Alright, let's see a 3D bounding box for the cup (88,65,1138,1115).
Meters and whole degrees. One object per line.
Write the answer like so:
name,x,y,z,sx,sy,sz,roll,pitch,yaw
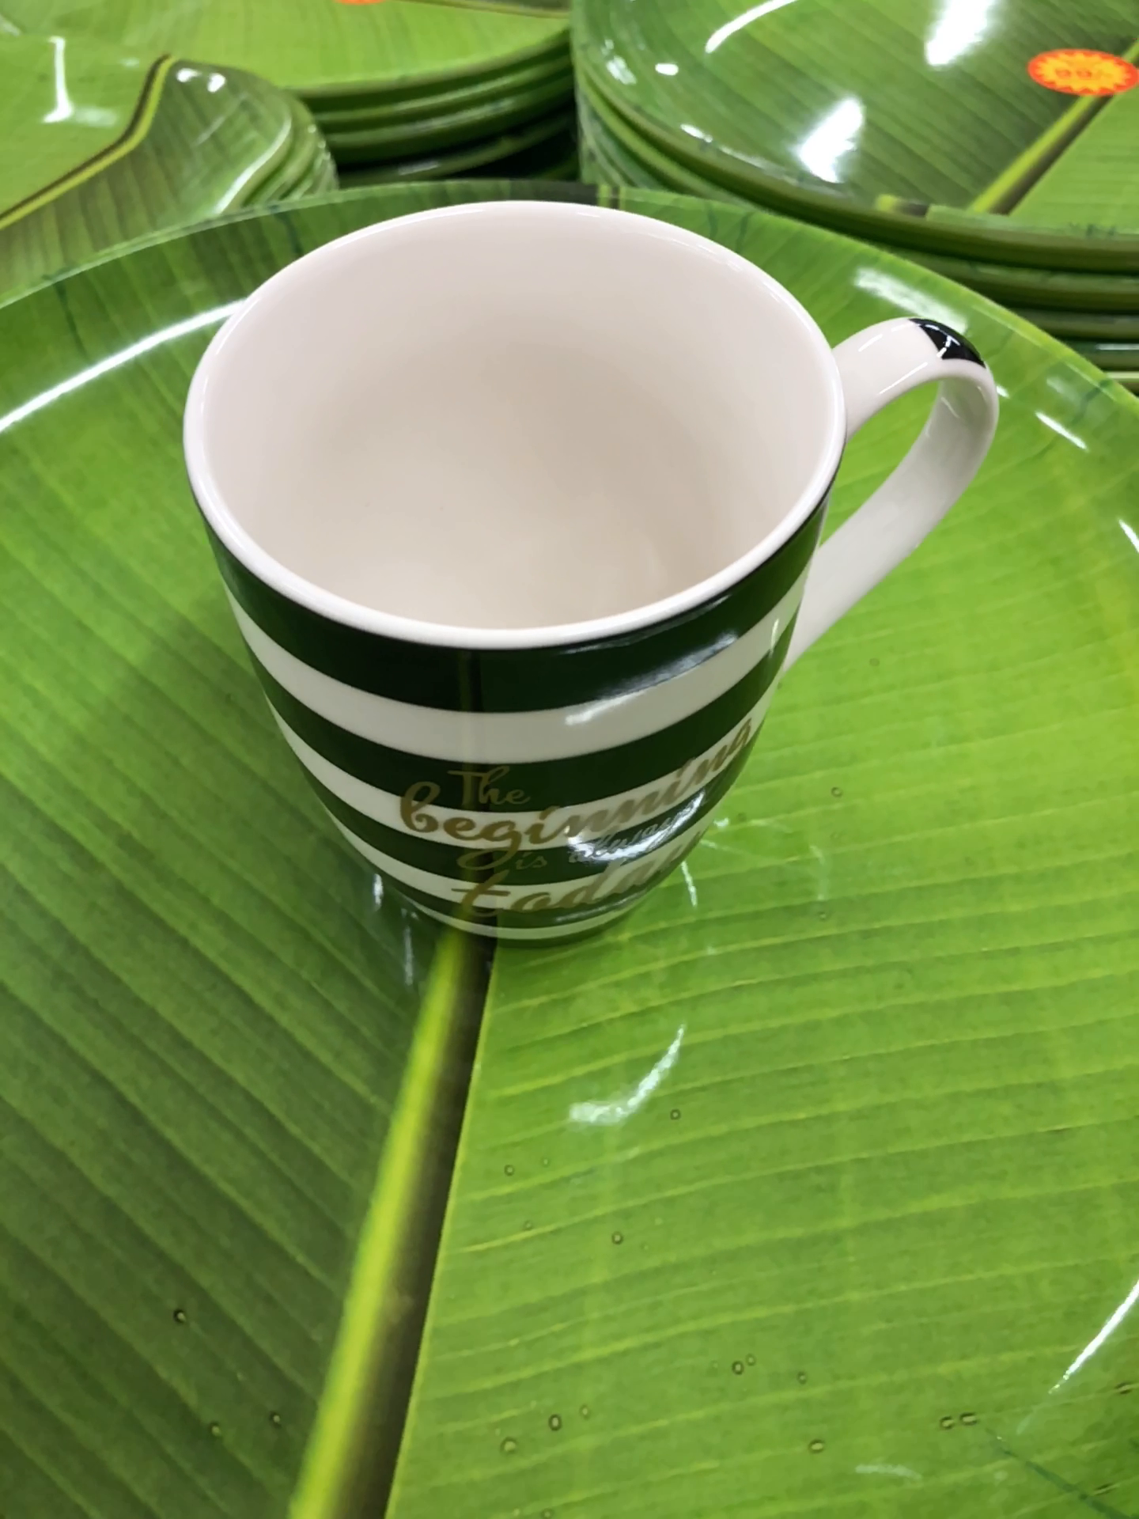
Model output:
cup,0.018,-0.028,0.185,0.130,0.080,0.080,-23,56,-15
